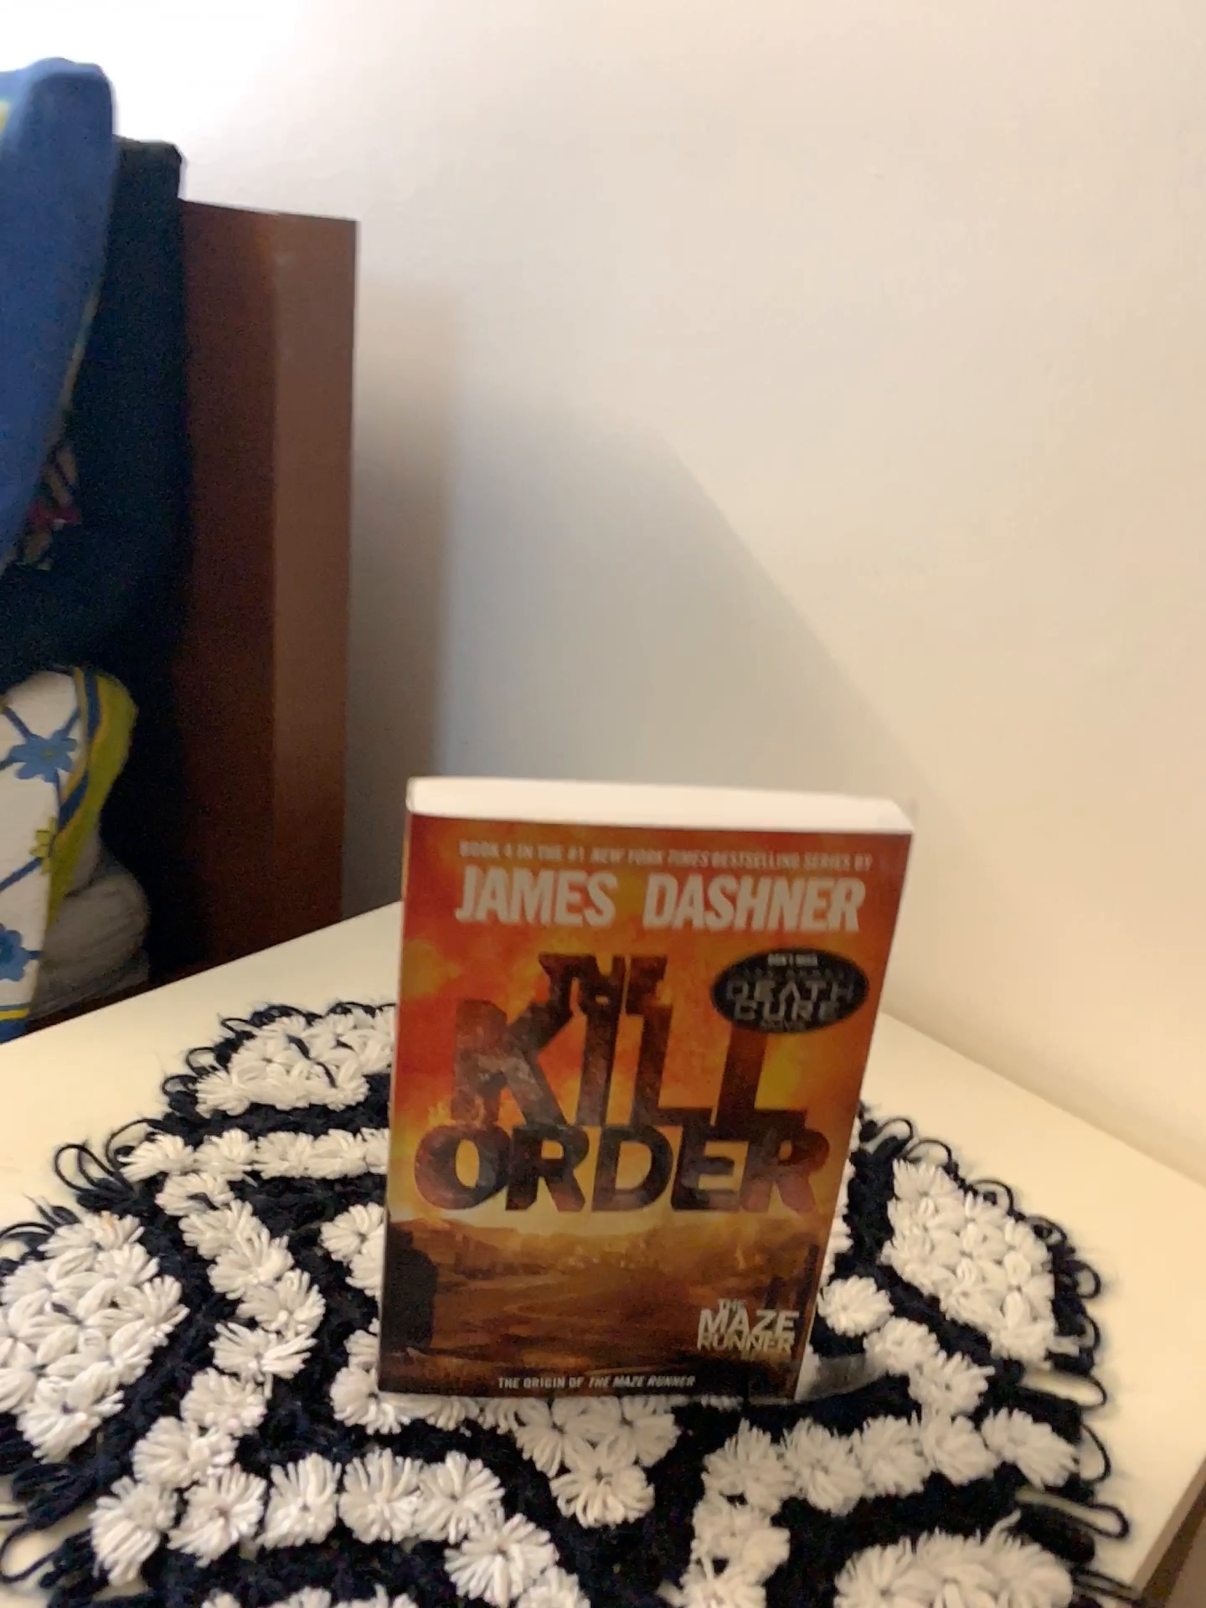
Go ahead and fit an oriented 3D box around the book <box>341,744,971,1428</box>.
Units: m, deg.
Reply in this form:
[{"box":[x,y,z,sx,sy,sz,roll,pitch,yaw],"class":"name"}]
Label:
[{"box":[0.007,0.095,0.378,0.160,0.219,0.030,4,21,-8],"class":"book"}]
